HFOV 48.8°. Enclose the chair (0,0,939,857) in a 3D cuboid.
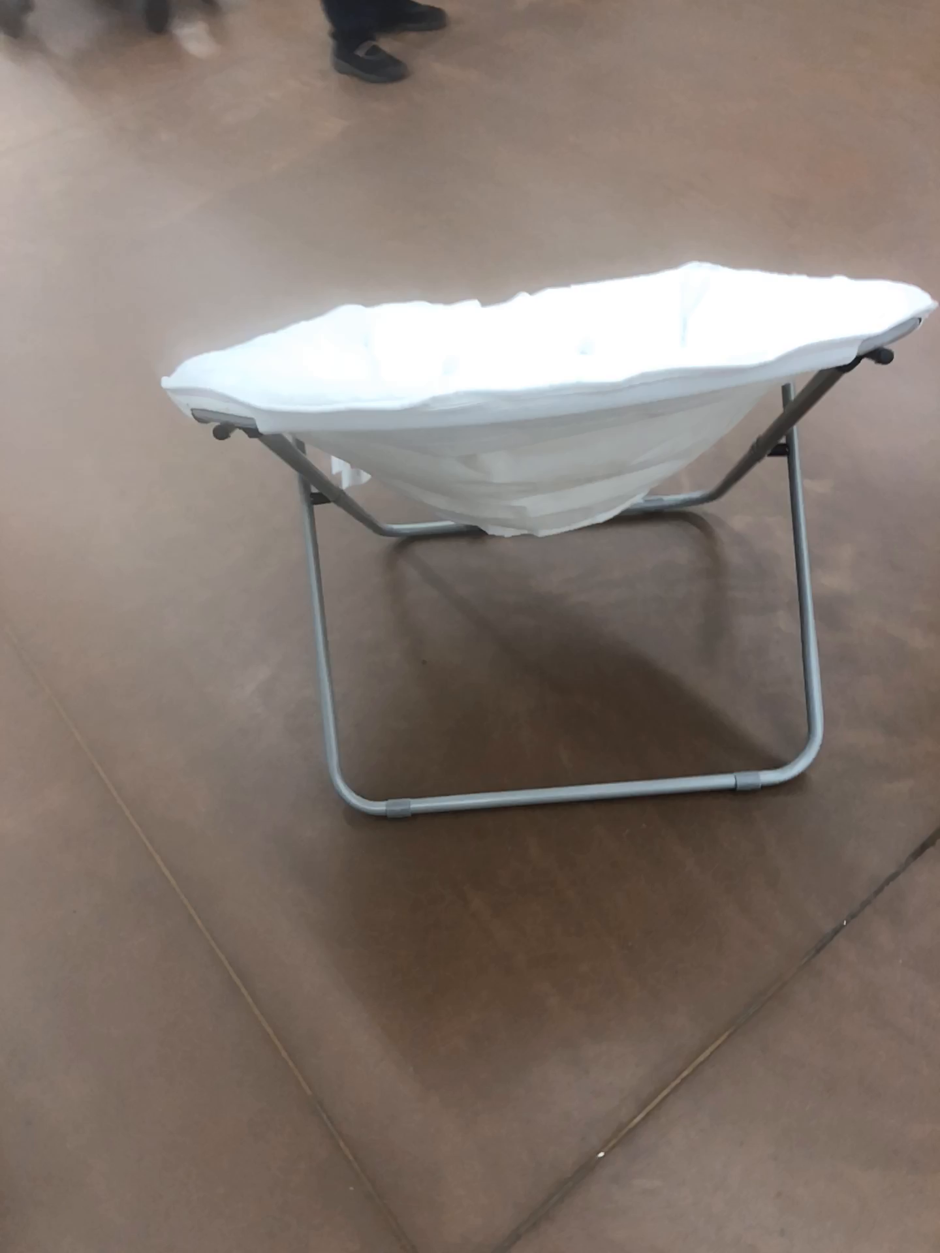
[{"bbox_3d":[0.060,-0.259,1.198,0.760,0.648,0.753,-5,48,4],"label":"chair"}]
